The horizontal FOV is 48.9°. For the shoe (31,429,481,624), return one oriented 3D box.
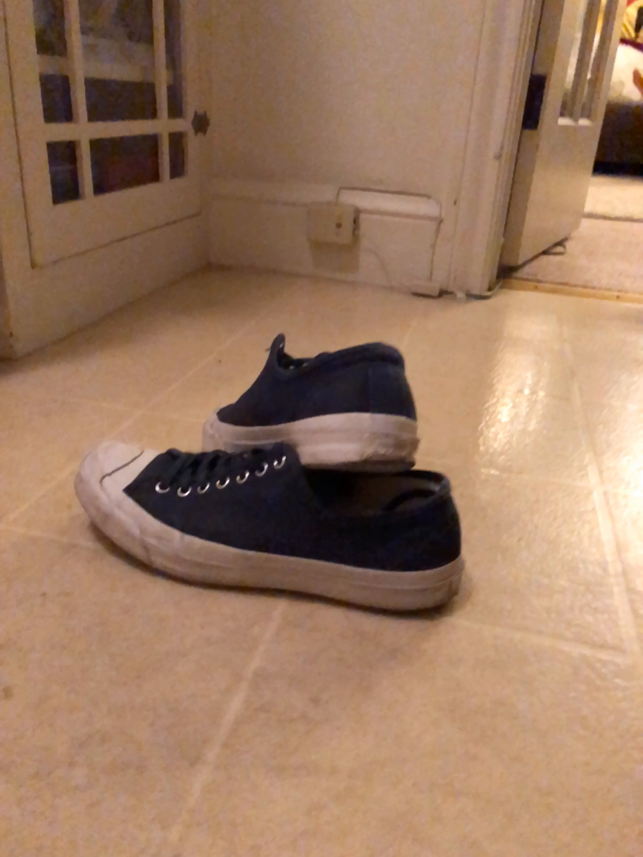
[{"bbox_3d":[-0.037,0.059,0.499,0.290,0.080,0.110,1,19,13],"label":"shoe"}]

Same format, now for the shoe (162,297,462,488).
[{"bbox_3d":[-0.028,-0.018,0.559,0.100,0.100,0.290,11,-6,-28],"label":"shoe"}]
